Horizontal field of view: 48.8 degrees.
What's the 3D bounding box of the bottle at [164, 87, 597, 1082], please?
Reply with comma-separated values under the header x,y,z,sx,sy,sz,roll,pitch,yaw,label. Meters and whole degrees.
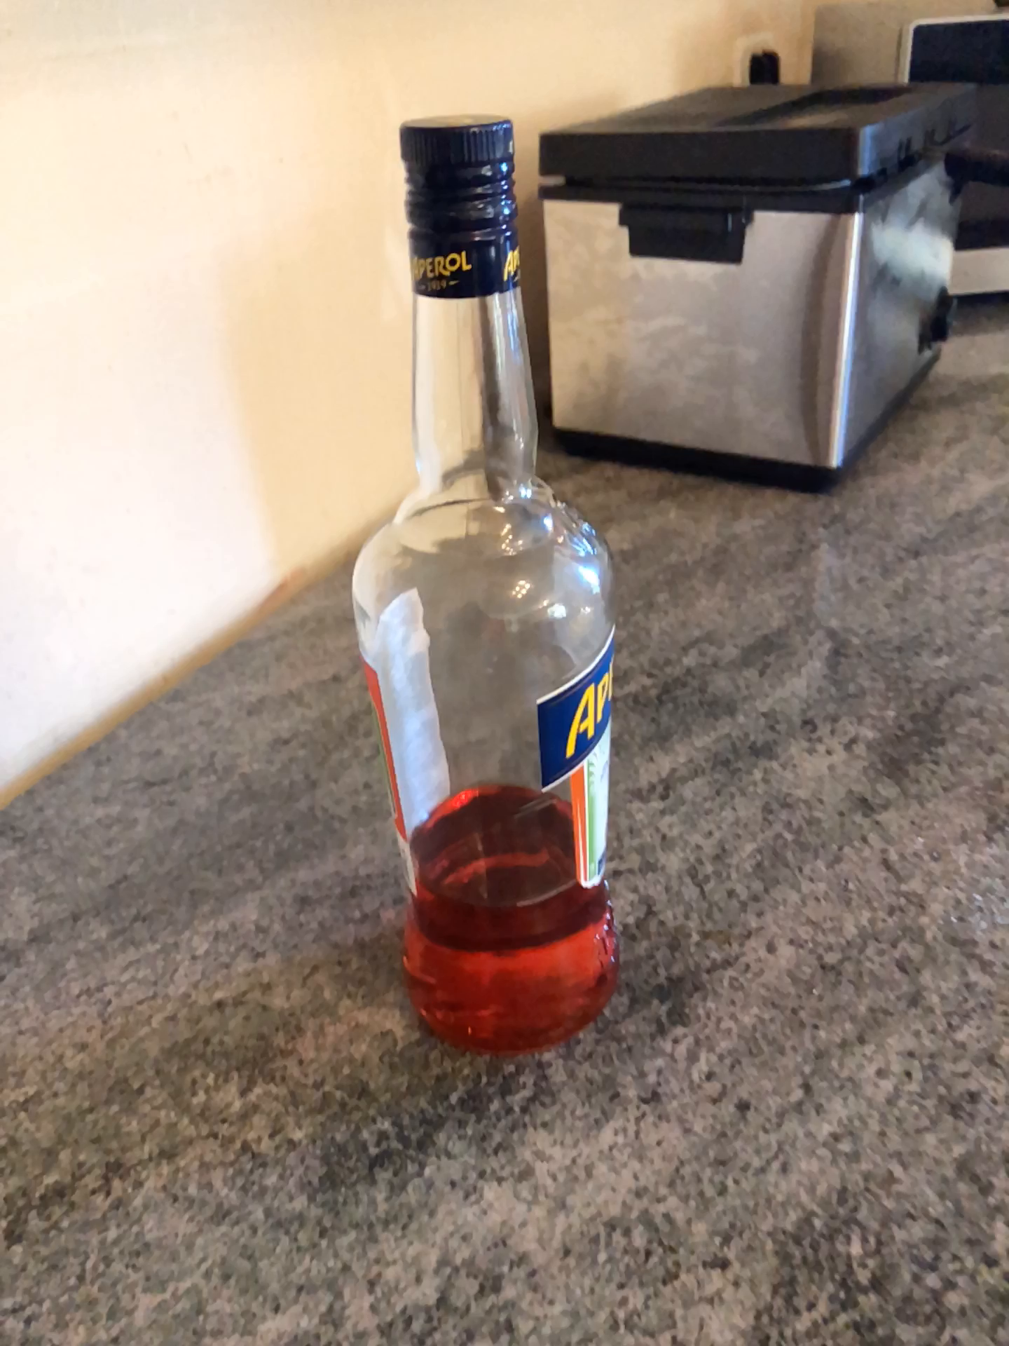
x,y,z,sx,sy,sz,roll,pitch,yaw,label
-0.020,-0.010,0.381,0.090,0.328,0.091,-3,31,2,bottle
